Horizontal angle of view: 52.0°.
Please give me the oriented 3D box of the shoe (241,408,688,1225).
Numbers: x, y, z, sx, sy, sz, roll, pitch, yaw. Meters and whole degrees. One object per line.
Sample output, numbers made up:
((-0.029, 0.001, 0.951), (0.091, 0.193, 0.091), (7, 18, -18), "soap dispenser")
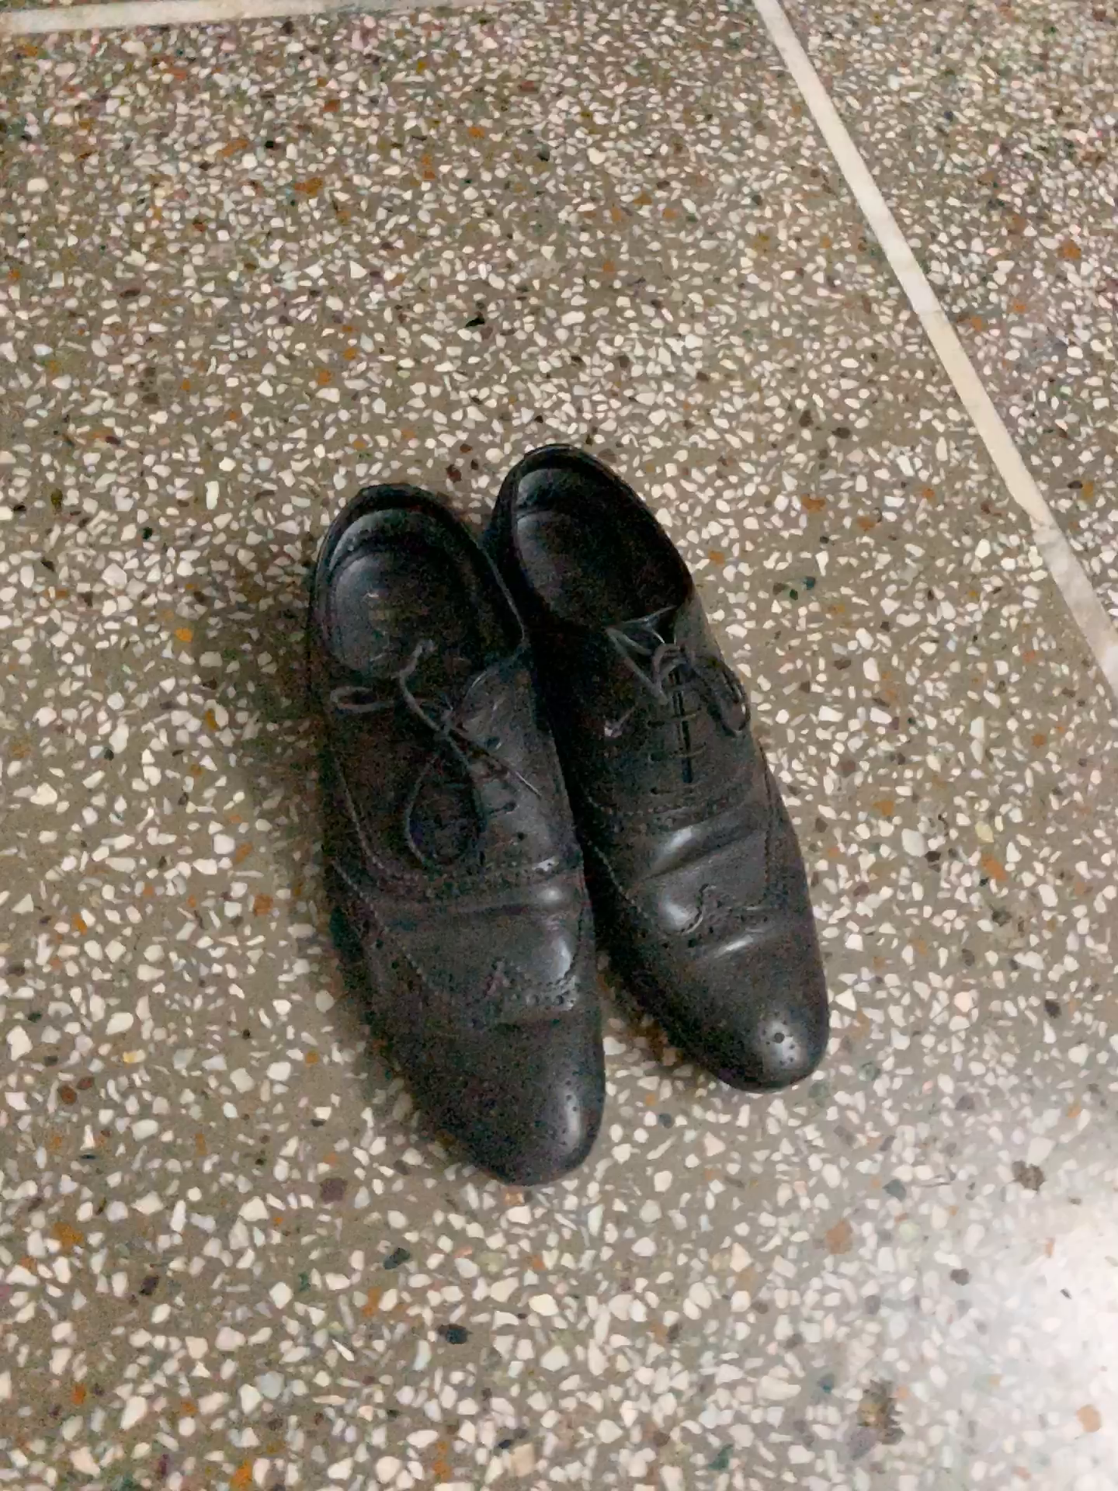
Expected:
((-0.052, 0.024, 0.493), (0.100, 0.100, 0.320), (-12, 71, -13), "shoe")

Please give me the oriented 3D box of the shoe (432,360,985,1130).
((0.049, -0.005, 0.519), (0.100, 0.100, 0.320), (-19, 73, -15), "shoe")
